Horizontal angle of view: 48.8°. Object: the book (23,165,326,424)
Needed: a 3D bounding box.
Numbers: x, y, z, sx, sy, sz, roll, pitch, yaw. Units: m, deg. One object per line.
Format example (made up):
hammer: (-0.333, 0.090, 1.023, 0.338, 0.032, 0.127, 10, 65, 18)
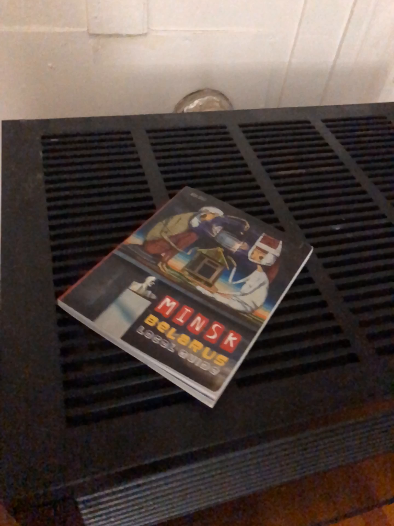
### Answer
book: (-0.006, 0.002, 0.359, 0.160, 0.020, 0.201, 29, 50, 18)
